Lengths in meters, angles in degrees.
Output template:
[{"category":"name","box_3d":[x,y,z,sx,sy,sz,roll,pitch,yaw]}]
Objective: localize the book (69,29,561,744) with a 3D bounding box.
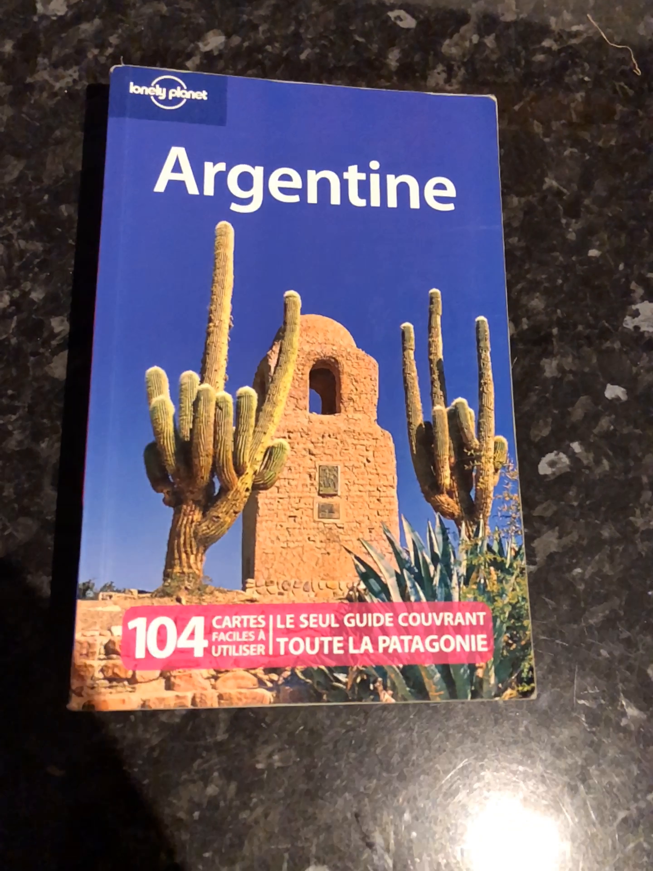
[{"category":"book","box_3d":[-0.002,-0.020,0.227,0.130,0.030,0.210,2,77,-8]}]
